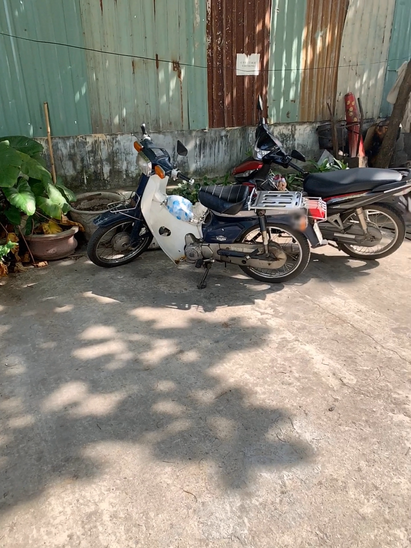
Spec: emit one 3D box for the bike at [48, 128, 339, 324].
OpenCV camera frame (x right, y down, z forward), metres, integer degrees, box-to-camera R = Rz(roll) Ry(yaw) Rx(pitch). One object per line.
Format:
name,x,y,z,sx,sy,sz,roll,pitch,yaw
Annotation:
bike,-0.065,-0.301,2.620,1.474,1.024,0.656,0,24,5
